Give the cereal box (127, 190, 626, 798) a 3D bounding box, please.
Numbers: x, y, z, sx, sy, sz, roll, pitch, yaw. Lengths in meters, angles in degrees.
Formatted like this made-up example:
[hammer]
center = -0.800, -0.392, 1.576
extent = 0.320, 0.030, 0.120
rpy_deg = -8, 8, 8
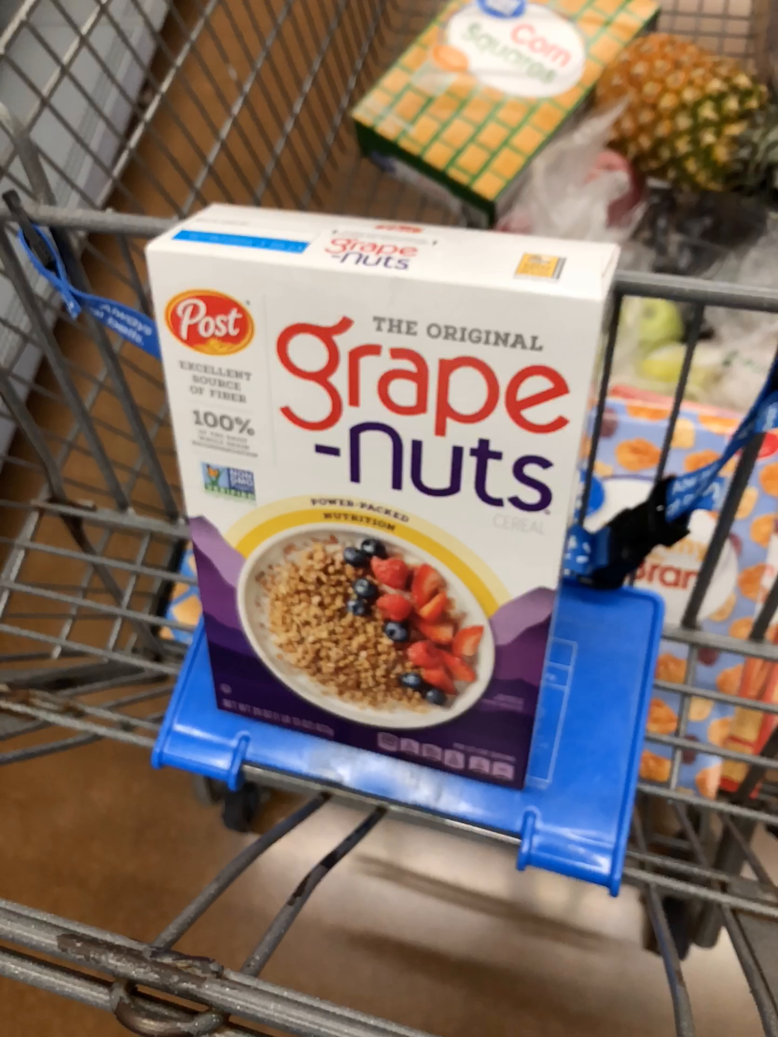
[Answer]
[cereal box]
center = -0.007, 0.000, 0.380
extent = 0.170, 0.250, 0.050
rpy_deg = 11, 36, 14
